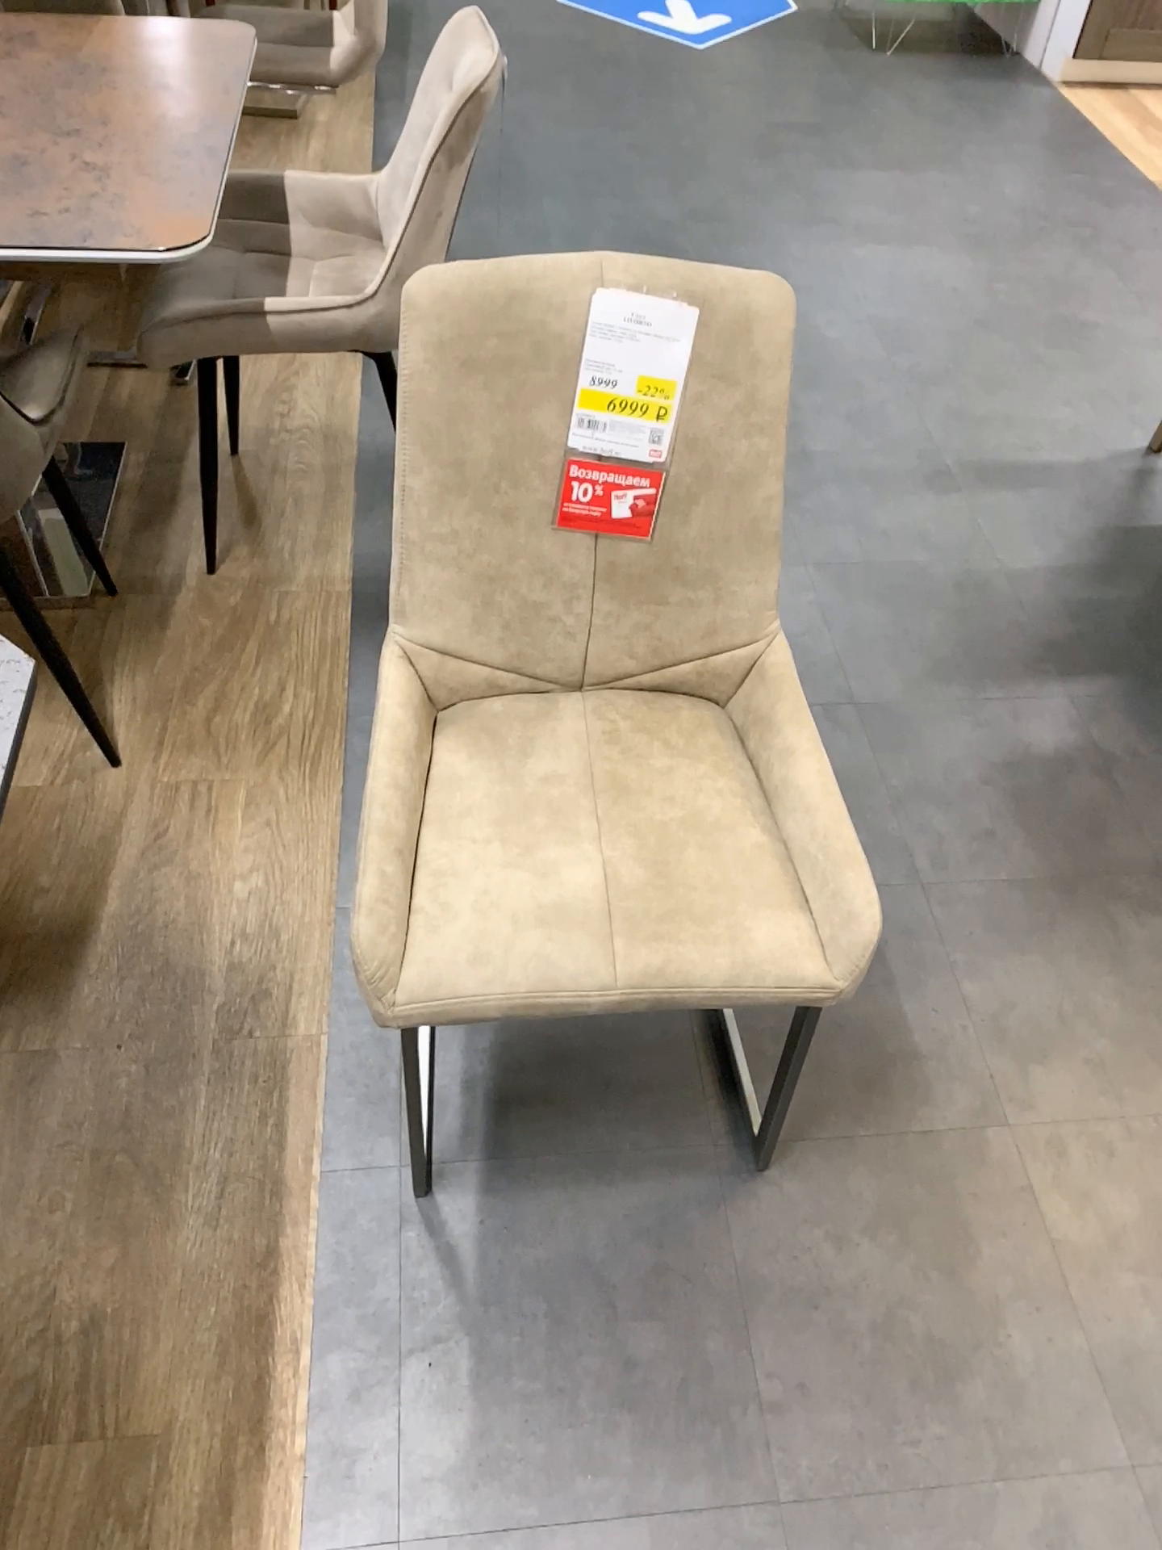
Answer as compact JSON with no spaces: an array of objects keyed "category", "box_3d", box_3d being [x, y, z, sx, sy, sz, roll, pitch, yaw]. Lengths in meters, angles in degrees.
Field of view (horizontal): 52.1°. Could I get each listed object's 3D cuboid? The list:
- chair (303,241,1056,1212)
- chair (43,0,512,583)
[{"category":"chair","box_3d":[0.016,-0.013,1.310,0.510,0.888,0.585,-3,47,-7]},{"category":"chair","box_3d":[-0.451,-0.827,2.084,0.624,0.843,0.482,-2,47,-6]}]
